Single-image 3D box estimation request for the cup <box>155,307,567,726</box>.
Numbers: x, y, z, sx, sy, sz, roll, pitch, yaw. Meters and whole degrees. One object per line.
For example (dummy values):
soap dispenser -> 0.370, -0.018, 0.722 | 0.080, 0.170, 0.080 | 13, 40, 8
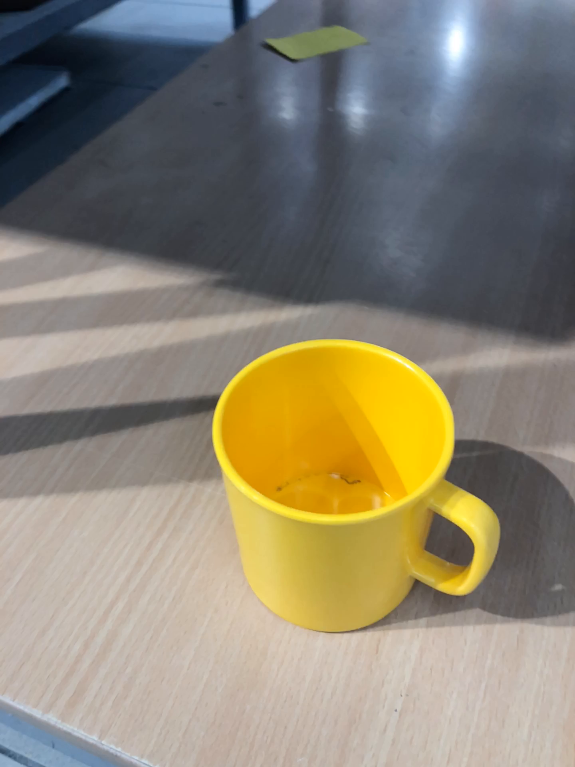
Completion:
cup -> 0.026, 0.045, 0.243 | 0.110, 0.089, 0.080 | 23, 50, 25
